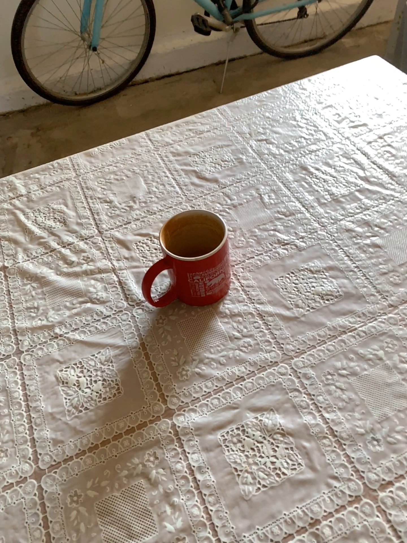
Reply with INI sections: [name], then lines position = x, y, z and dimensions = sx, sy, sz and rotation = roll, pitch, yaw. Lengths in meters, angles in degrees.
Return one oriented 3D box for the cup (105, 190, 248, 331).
[cup]
position = -0.031, -0.015, 0.532
dimensions = 0.140, 0.080, 0.100
rotation = -30, 57, -13
